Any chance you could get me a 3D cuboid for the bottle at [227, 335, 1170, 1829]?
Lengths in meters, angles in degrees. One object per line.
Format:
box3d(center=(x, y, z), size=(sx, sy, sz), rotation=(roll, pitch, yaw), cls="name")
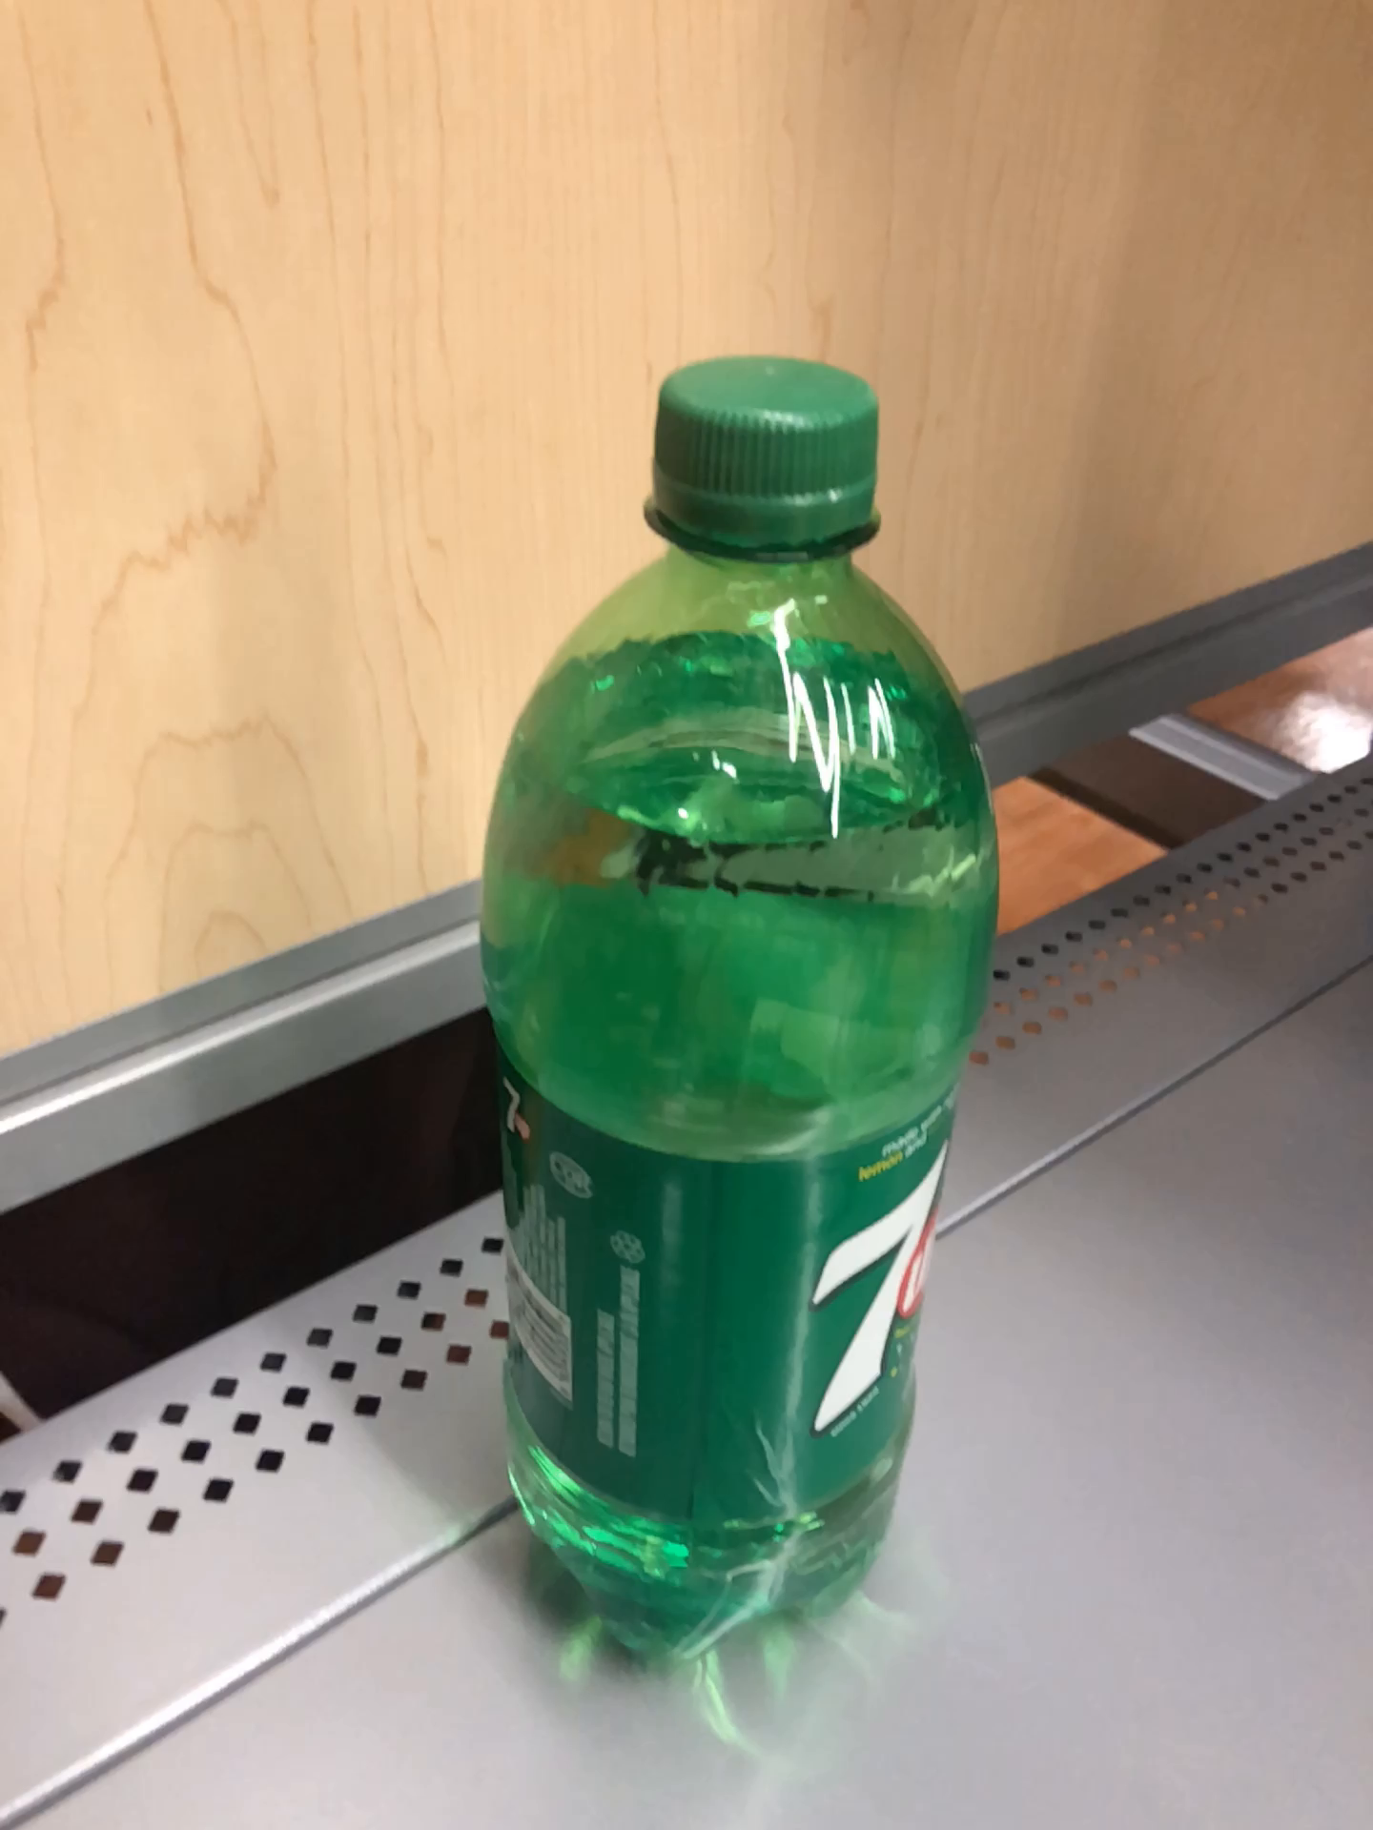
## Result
box3d(center=(0.002, 0.038, 0.268), size=(0.080, 0.238, 0.100), rotation=(25, 41, 30), cls="bottle")
